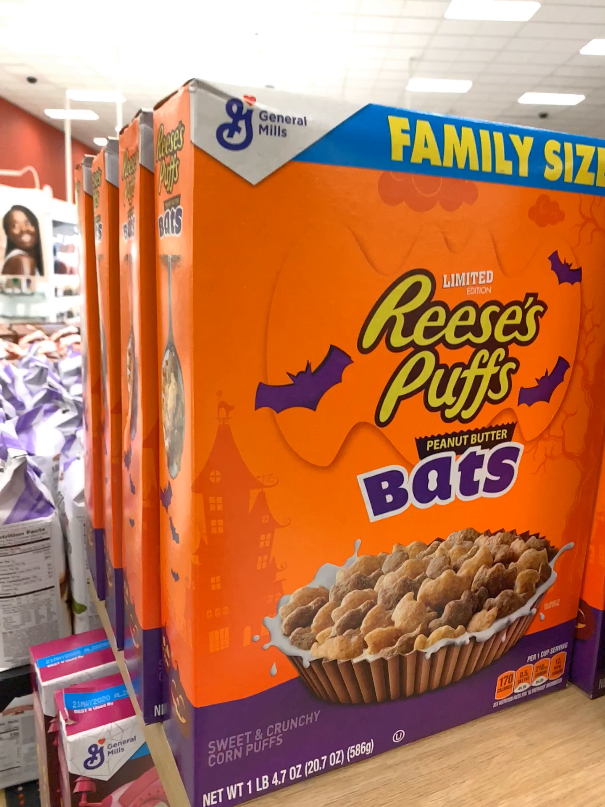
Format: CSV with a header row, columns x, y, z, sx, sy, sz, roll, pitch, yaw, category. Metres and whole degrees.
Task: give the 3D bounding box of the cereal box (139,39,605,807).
x,y,z,sx,sy,sz,roll,pitch,yaw,category
0.047,0.015,0.323,0.240,0.309,0.070,-4,13,-26,cereal box
